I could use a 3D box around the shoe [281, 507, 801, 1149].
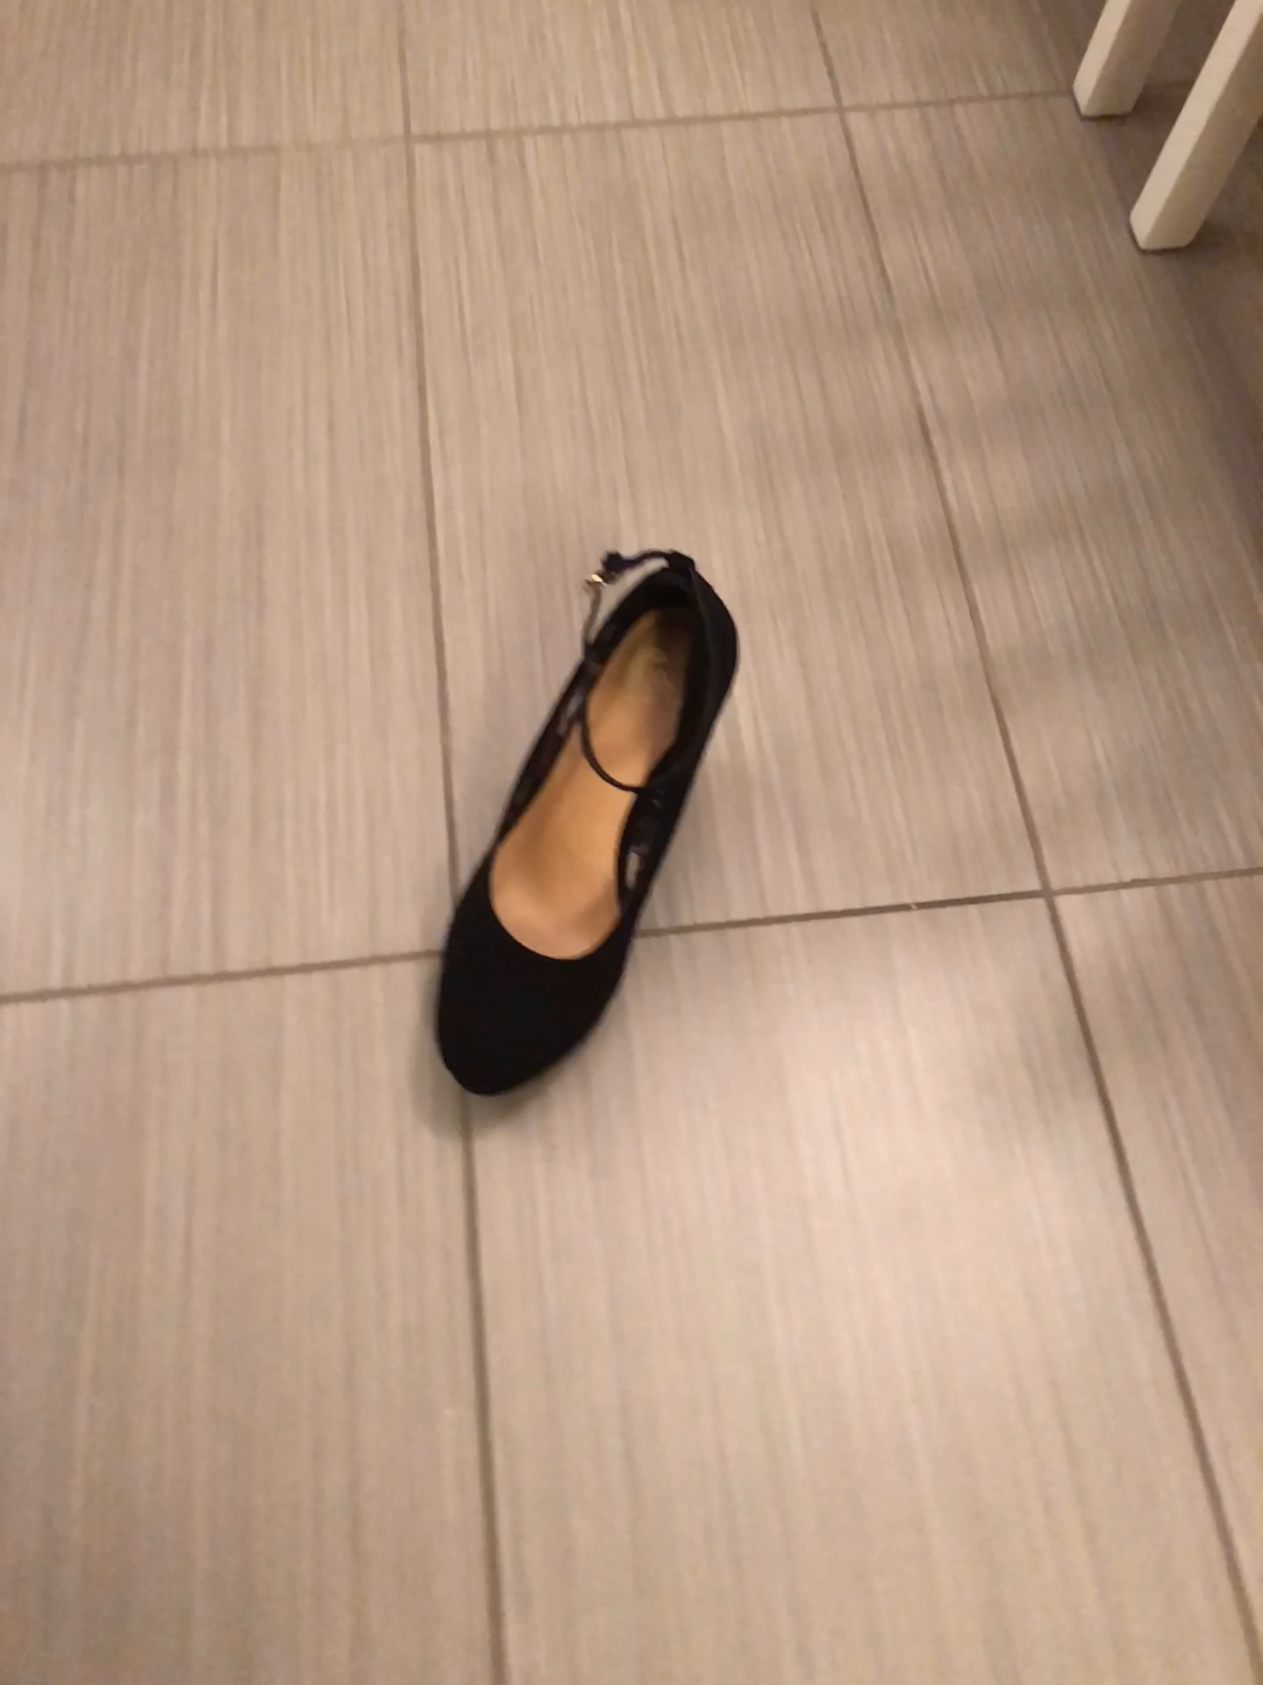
[{"bbox_3d":[-0.031,-0.006,0.633,0.100,0.140,0.241,28,66,13],"label":"shoe"}]
